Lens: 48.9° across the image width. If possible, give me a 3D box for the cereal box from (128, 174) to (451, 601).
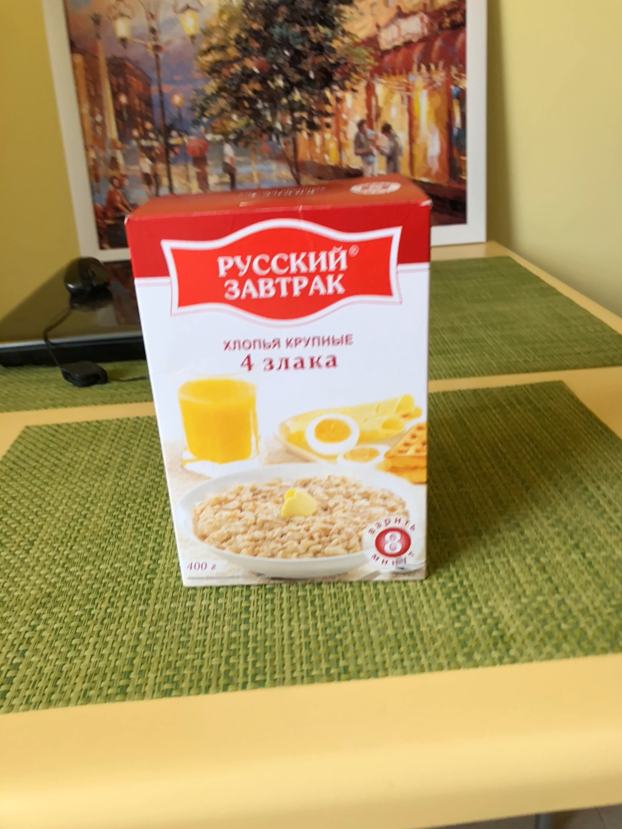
[{"bbox_3d":[-0.004,-0.010,0.346,0.130,0.199,0.070,-2,24,2],"label":"cereal box"}]
